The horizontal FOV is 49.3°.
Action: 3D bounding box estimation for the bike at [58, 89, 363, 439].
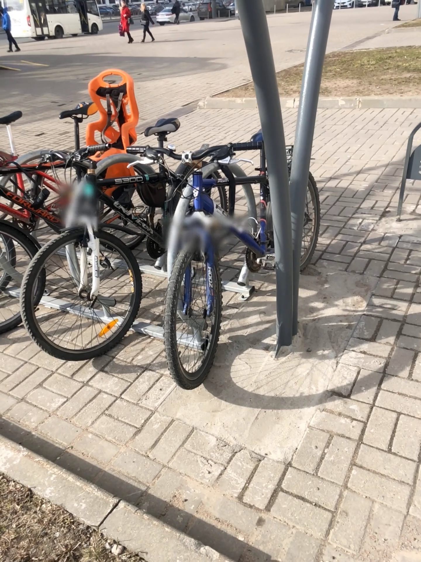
[{"bbox_3d":[0.186,-0.290,2.225,0.627,0.959,1.666,13,34,27],"label":"bike"}]
